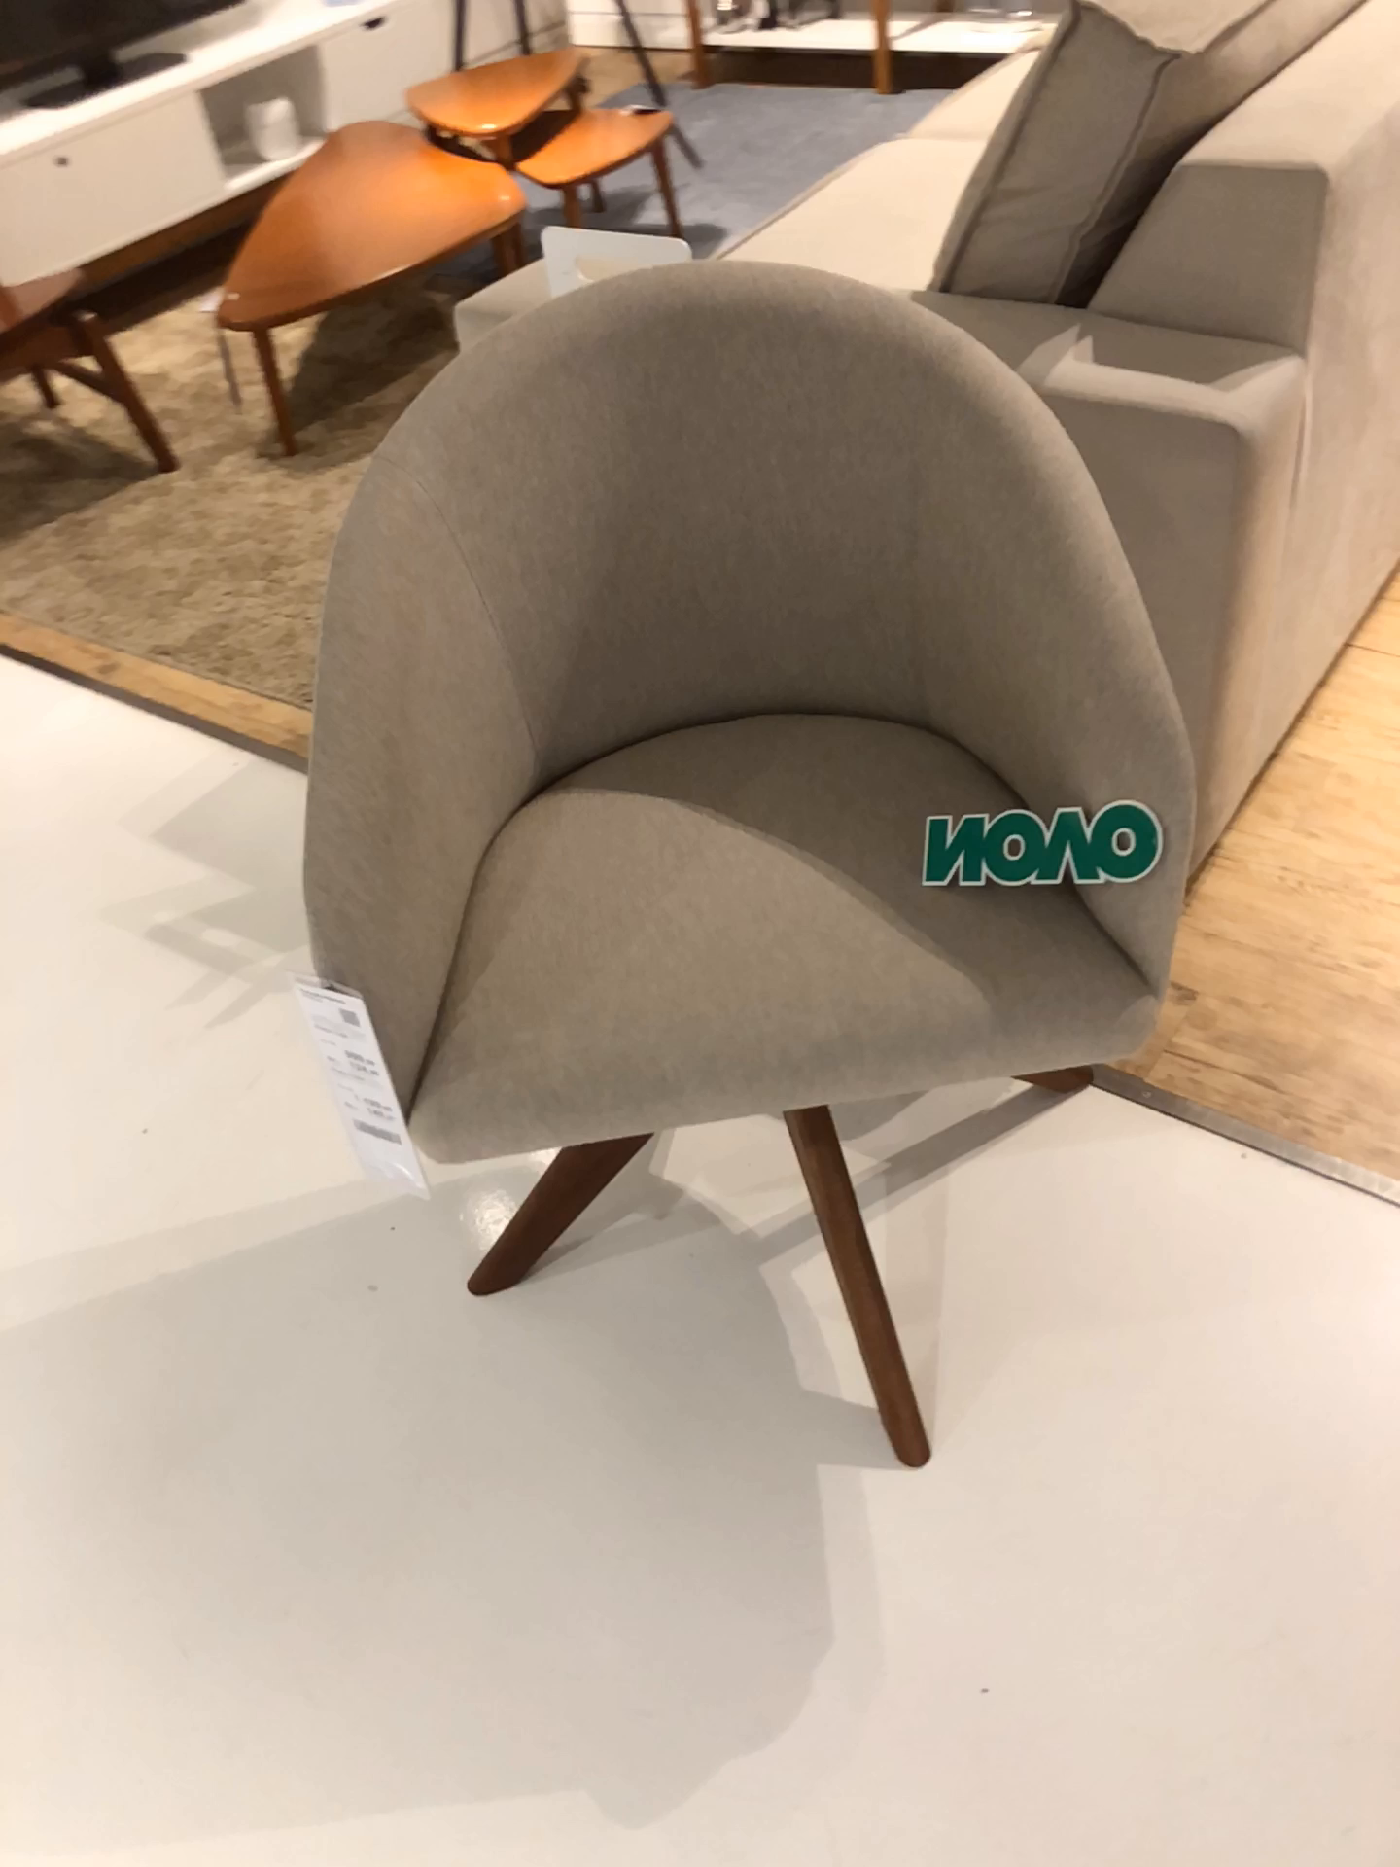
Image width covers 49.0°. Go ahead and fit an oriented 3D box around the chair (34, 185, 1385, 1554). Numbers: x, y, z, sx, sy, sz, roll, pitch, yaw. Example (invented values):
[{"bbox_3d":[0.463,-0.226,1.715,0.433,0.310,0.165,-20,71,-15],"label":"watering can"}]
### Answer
[{"bbox_3d":[0.022,-0.052,1.306,0.690,0.794,0.716,-9,42,1],"label":"chair"}]
